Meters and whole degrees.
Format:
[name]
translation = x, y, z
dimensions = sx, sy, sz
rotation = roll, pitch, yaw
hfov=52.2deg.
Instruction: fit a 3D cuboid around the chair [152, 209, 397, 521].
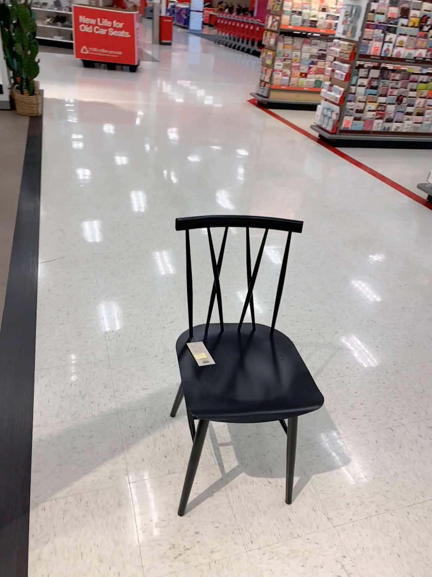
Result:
[chair]
translation = 0.080, 0.210, 1.345
dimensions = 0.480, 0.736, 0.523
rotation = -2, 33, -14
